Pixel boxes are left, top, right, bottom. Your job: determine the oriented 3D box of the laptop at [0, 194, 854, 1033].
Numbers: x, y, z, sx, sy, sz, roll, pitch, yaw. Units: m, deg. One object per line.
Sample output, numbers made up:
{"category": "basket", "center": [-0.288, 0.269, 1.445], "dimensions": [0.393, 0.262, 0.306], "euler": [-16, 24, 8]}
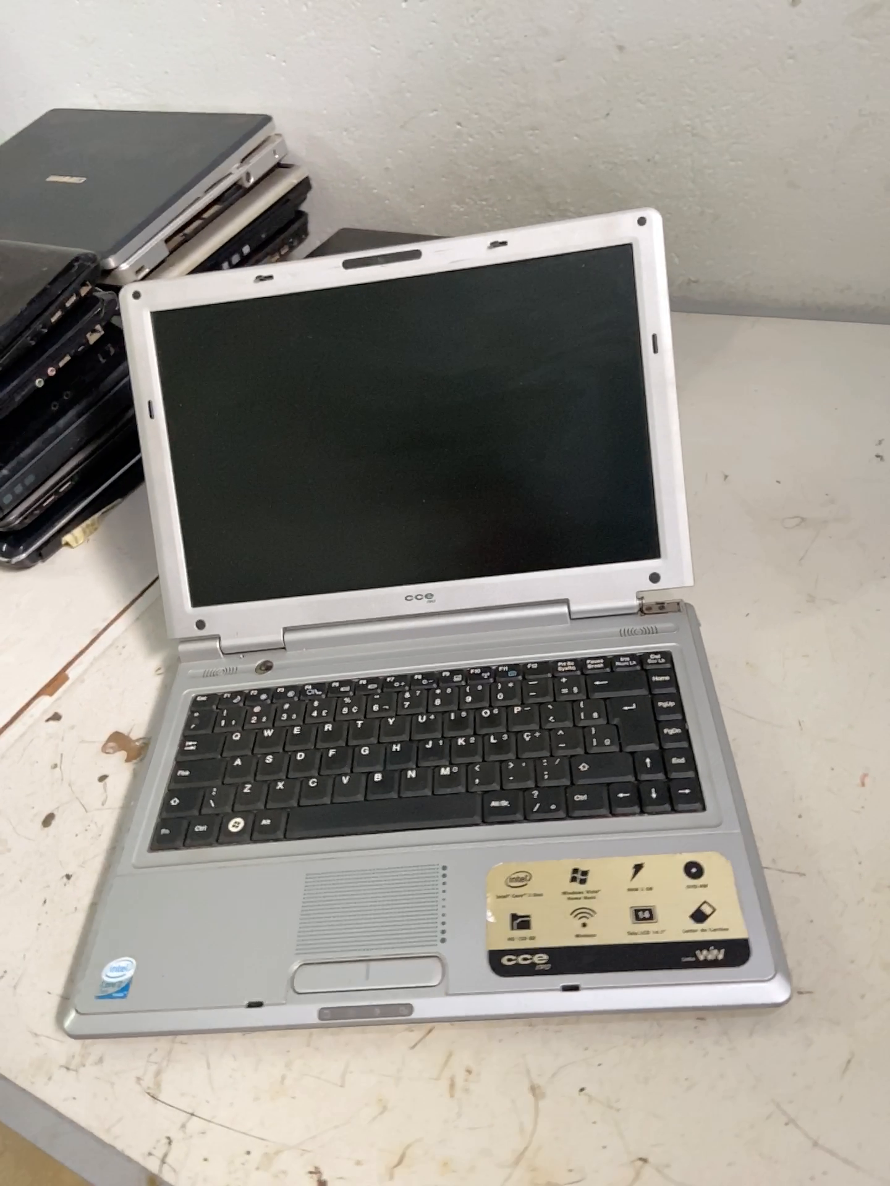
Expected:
{"category": "laptop", "center": [-0.029, -0.012, 0.491], "dimensions": [0.338, 0.190, 0.389], "euler": [-6, 44, 7]}
